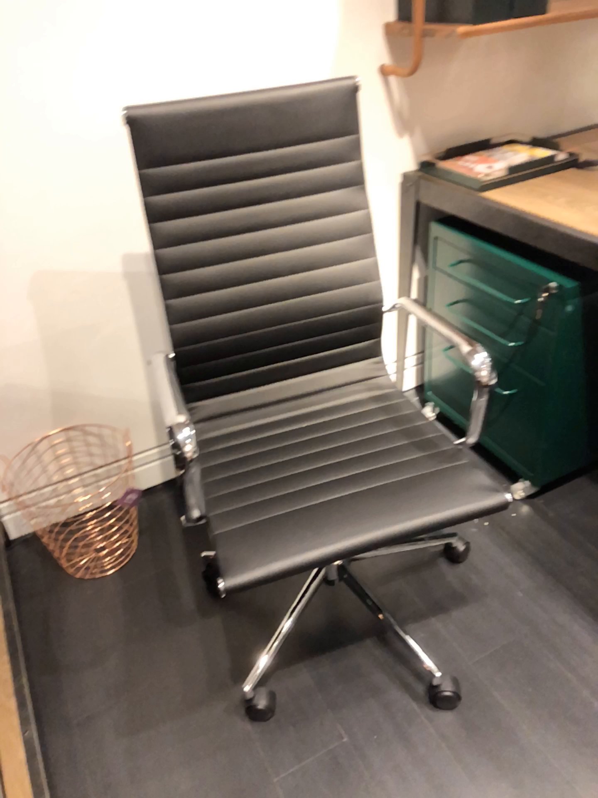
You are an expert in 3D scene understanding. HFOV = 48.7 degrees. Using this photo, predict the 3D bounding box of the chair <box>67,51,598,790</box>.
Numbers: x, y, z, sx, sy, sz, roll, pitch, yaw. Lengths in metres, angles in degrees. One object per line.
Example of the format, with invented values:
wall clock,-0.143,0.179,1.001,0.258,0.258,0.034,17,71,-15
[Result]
chair,0.072,0.012,1.235,0.681,1.052,0.665,-14,35,-13
